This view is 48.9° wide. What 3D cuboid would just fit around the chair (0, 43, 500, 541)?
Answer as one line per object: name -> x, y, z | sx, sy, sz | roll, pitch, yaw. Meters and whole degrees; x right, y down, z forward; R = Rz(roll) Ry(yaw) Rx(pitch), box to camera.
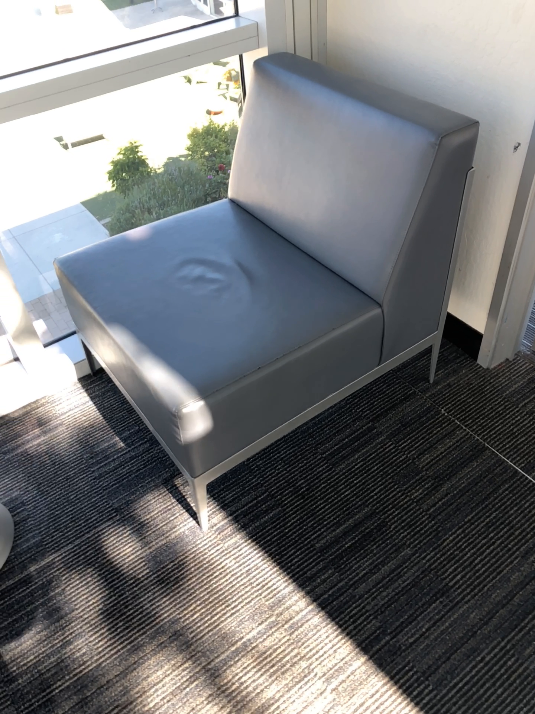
chair -> -0.067, -0.222, 1.440 | 0.750, 0.707, 0.773 | -27, 47, -22
